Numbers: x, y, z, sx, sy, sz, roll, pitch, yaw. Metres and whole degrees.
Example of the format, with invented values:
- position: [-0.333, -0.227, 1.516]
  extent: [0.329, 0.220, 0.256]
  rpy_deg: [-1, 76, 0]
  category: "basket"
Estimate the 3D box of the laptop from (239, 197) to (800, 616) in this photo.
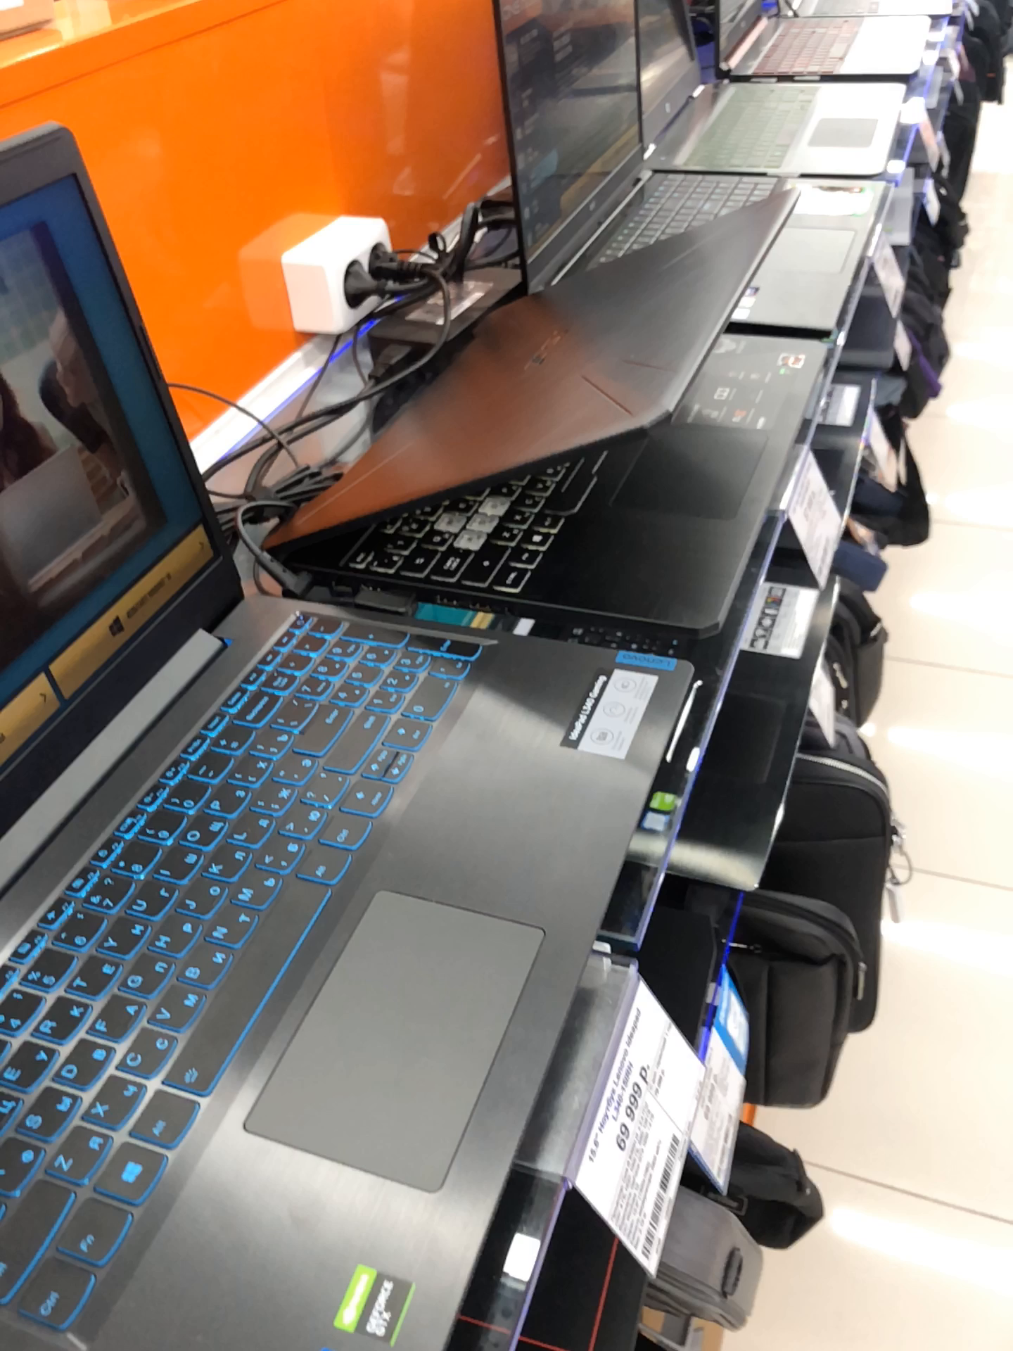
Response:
- position: [0.035, -0.193, 0.701]
  extent: [0.239, 0.106, 0.348]
  rpy_deg: [9, 39, 18]
  category: "laptop"

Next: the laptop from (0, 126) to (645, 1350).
- position: [-0.139, -0.016, 0.374]
  extent: [0.283, 0.235, 0.358]
  rpy_deg: [9, 40, 18]
  category: "laptop"
